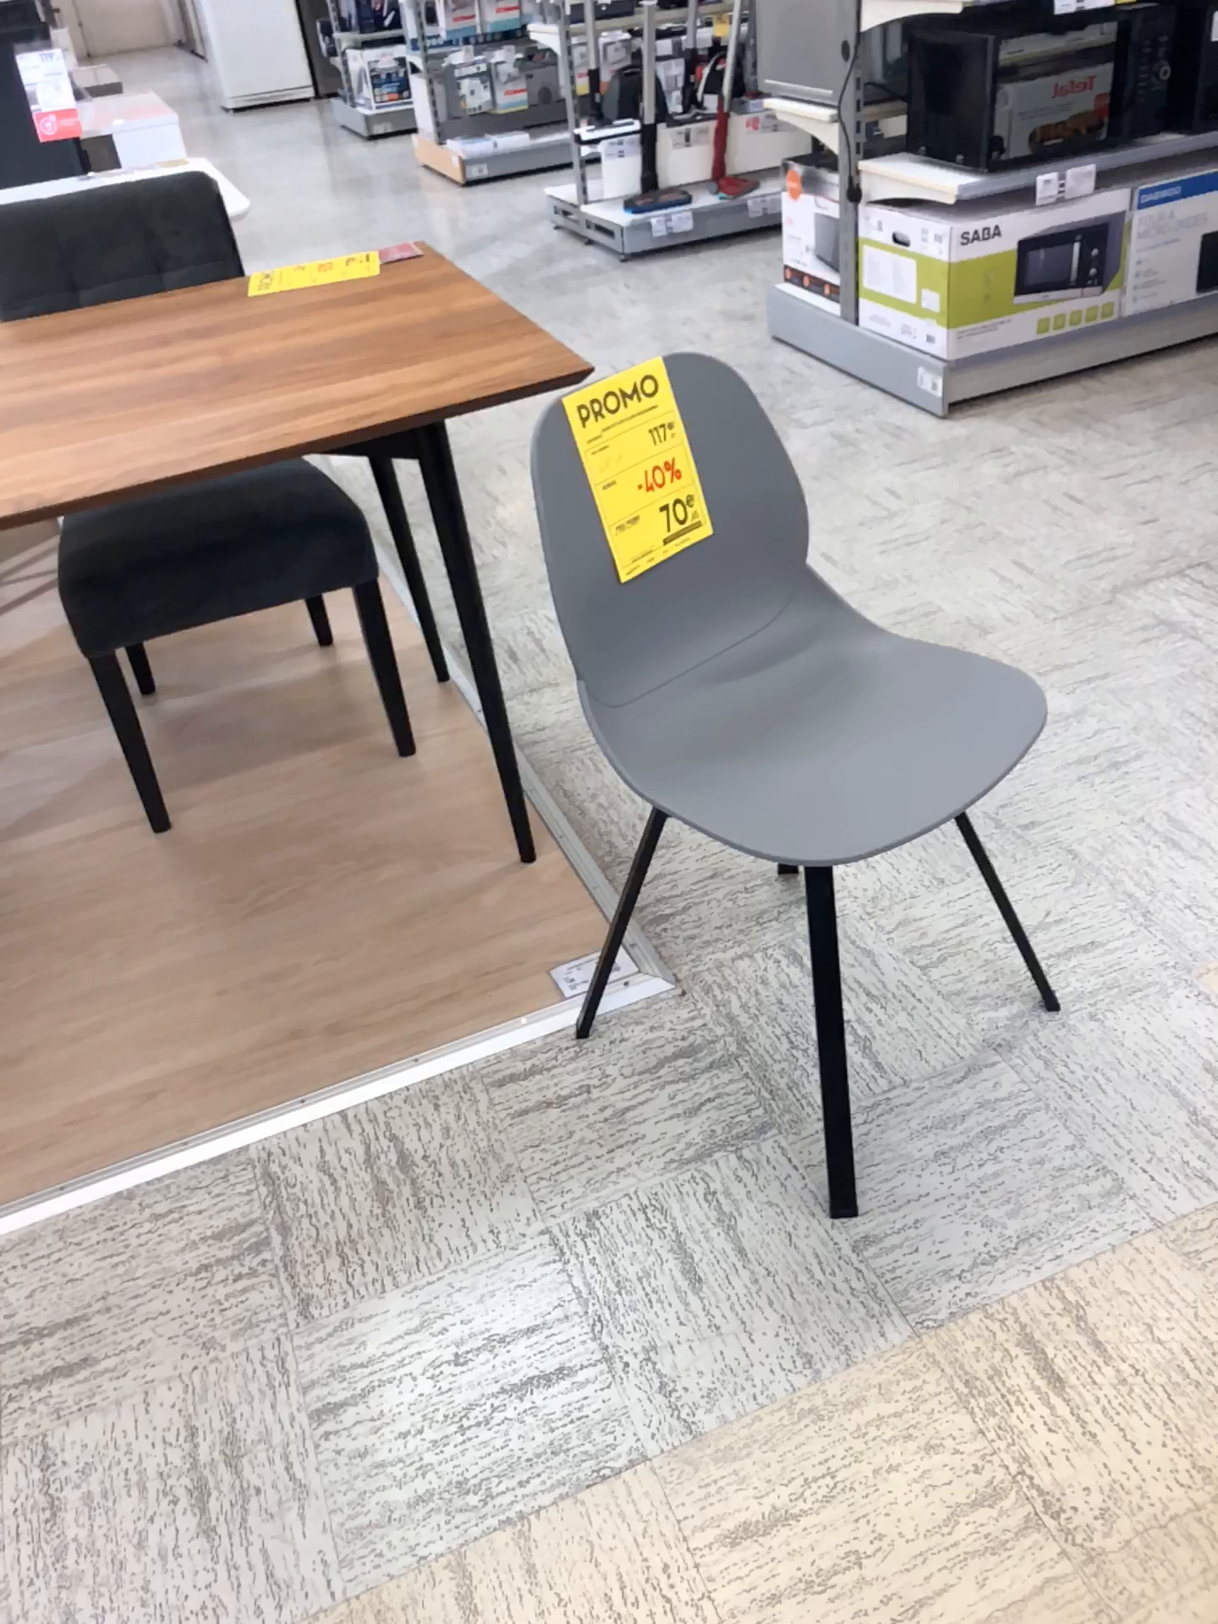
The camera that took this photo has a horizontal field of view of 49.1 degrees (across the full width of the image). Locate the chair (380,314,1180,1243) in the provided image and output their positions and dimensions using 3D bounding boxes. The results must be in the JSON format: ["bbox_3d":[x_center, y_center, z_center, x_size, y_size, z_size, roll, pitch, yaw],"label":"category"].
[{"bbox_3d":[0.197,-0.076,1.506,0.580,0.756,0.513,25,46,39],"label":"chair"}]
